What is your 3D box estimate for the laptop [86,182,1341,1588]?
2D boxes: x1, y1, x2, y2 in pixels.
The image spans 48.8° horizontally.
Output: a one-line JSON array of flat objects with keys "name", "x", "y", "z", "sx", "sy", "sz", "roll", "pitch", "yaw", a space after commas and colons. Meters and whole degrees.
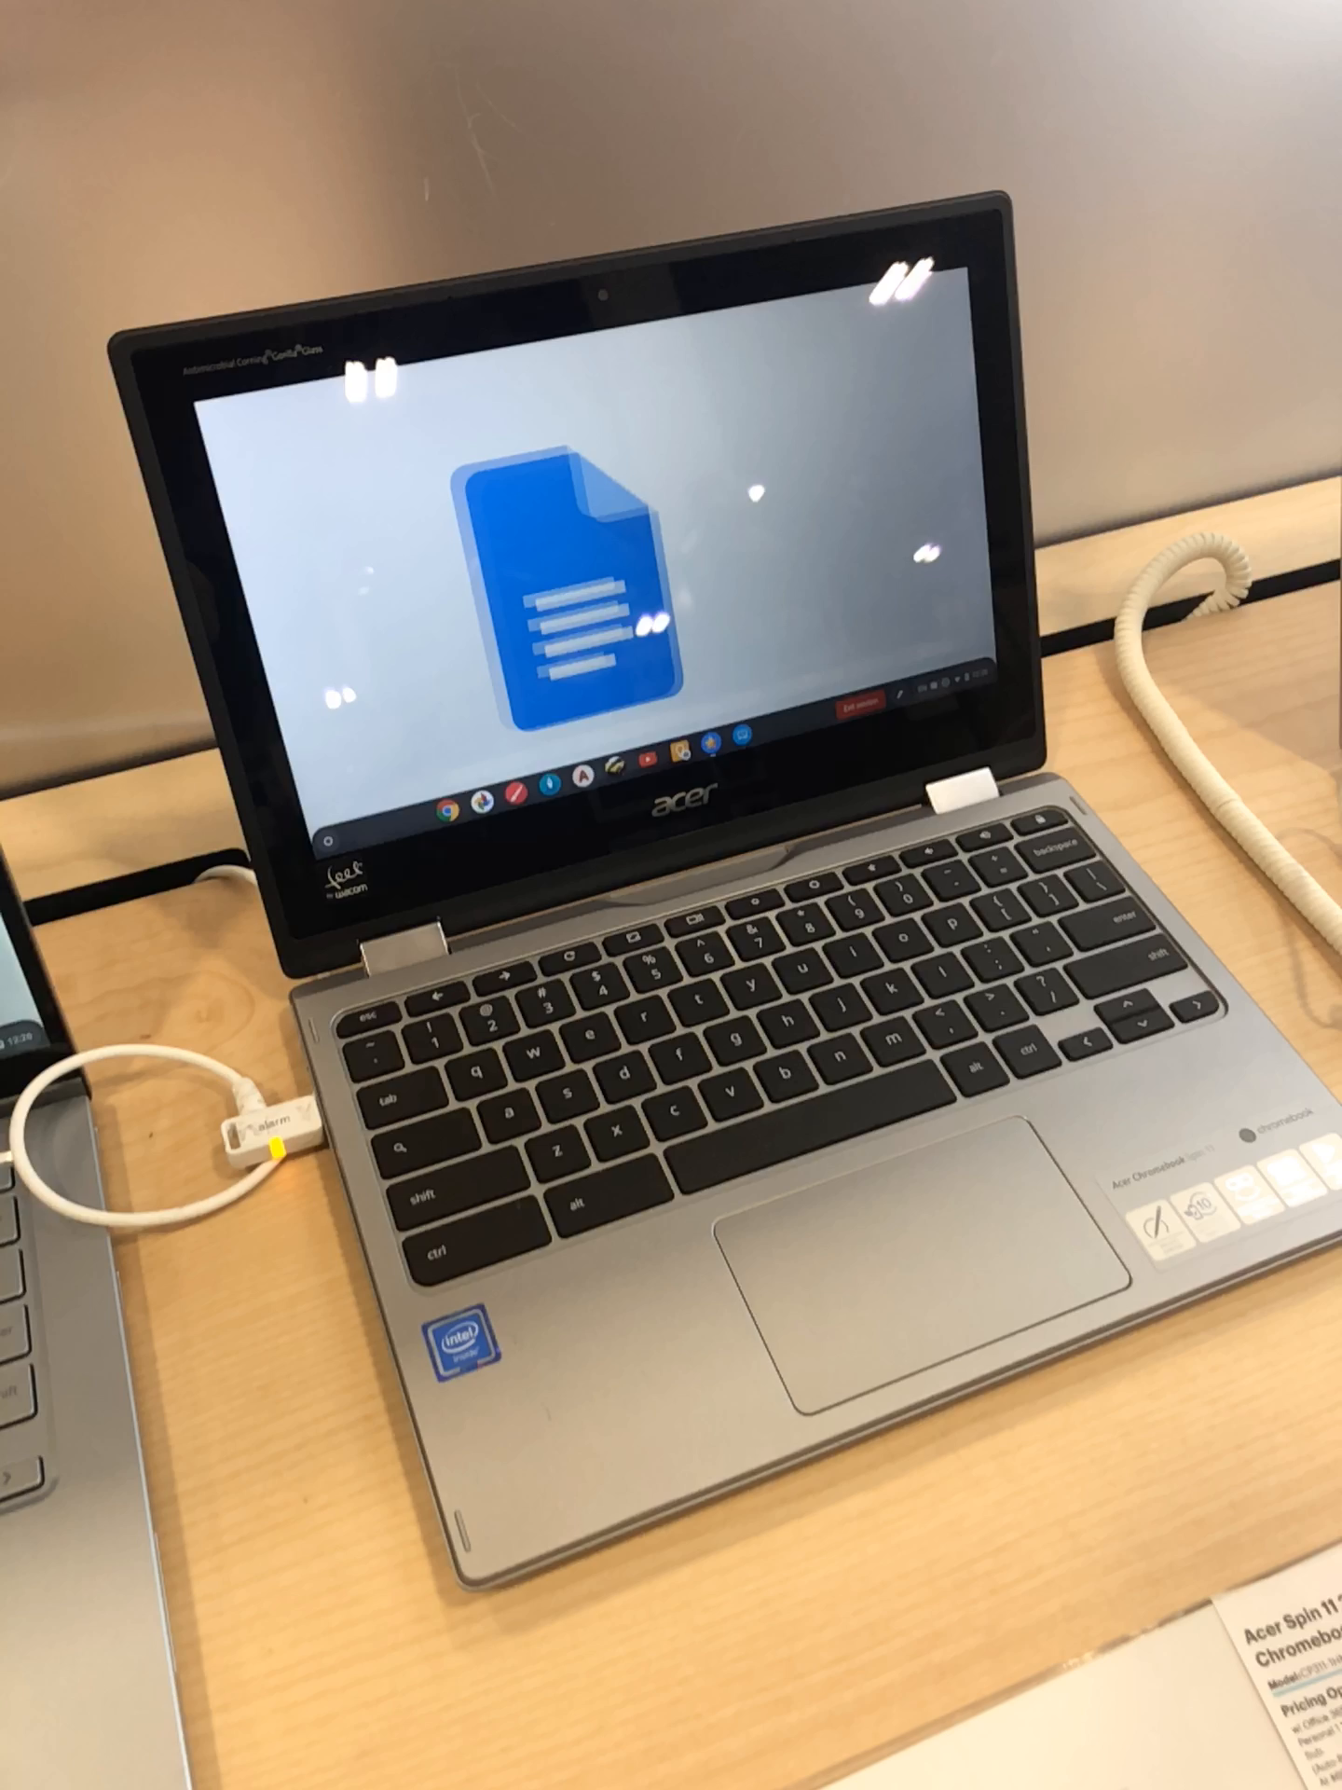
[{"name": "laptop", "x": 0.027, "y": -0.034, "z": 0.422, "sx": 0.287, "sy": 0.176, "sz": 0.296, "roll": -16, "pitch": 50, "yaw": -16}]
